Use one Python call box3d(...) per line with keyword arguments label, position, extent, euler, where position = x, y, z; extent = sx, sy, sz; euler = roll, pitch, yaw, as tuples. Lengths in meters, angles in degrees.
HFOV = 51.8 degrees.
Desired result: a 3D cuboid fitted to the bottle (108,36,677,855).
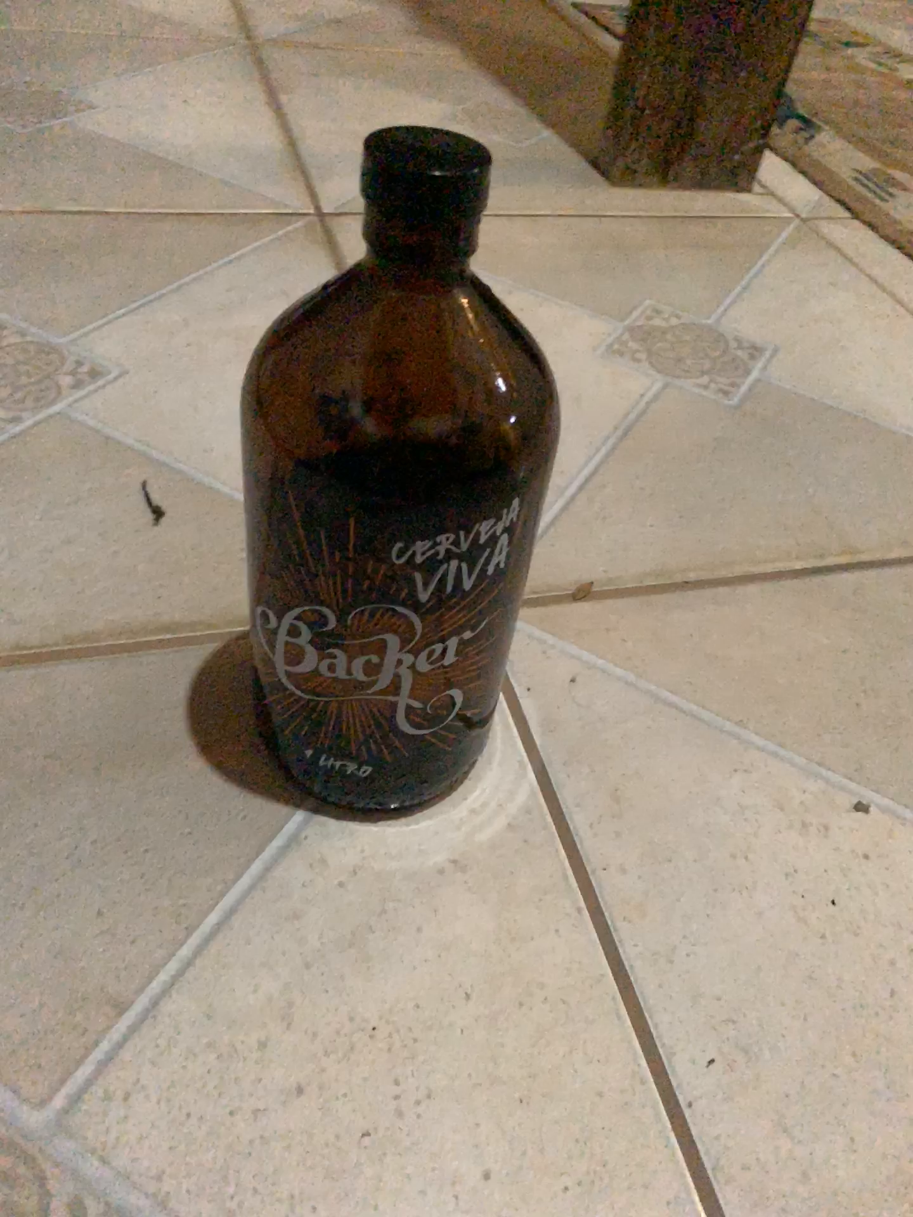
box3d(label="bottle", position=(-0.018, -0.033, 0.282), extent=(0.100, 0.209, 0.090), euler=(17, 46, 9))
